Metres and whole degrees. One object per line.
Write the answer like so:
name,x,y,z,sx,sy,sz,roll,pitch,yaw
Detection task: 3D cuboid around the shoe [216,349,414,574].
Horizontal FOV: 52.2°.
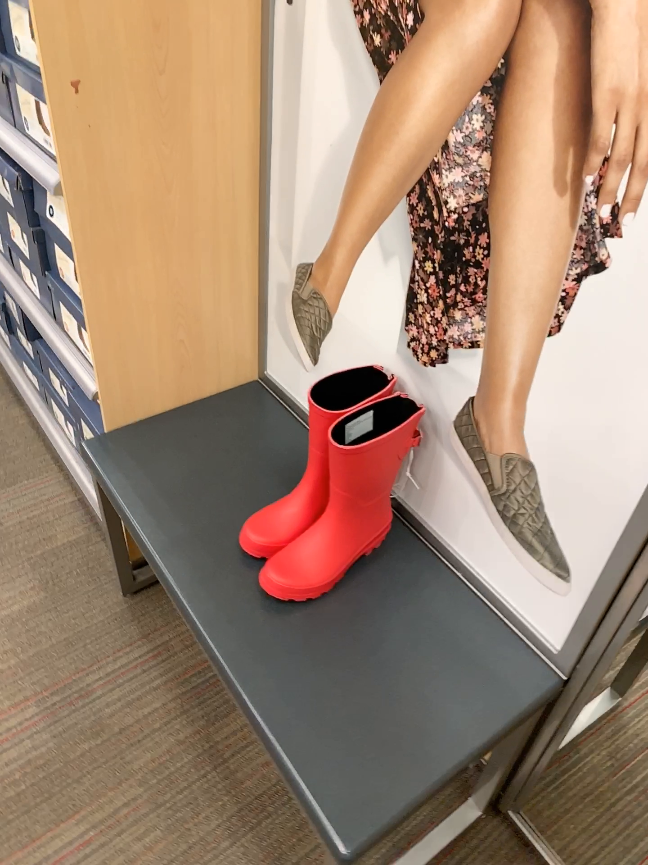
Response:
shoe,-0.017,0.040,1.008,0.270,0.249,0.106,-23,47,-31

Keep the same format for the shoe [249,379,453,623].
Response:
shoe,0.033,0.095,0.956,0.271,0.249,0.106,-26,49,-33
